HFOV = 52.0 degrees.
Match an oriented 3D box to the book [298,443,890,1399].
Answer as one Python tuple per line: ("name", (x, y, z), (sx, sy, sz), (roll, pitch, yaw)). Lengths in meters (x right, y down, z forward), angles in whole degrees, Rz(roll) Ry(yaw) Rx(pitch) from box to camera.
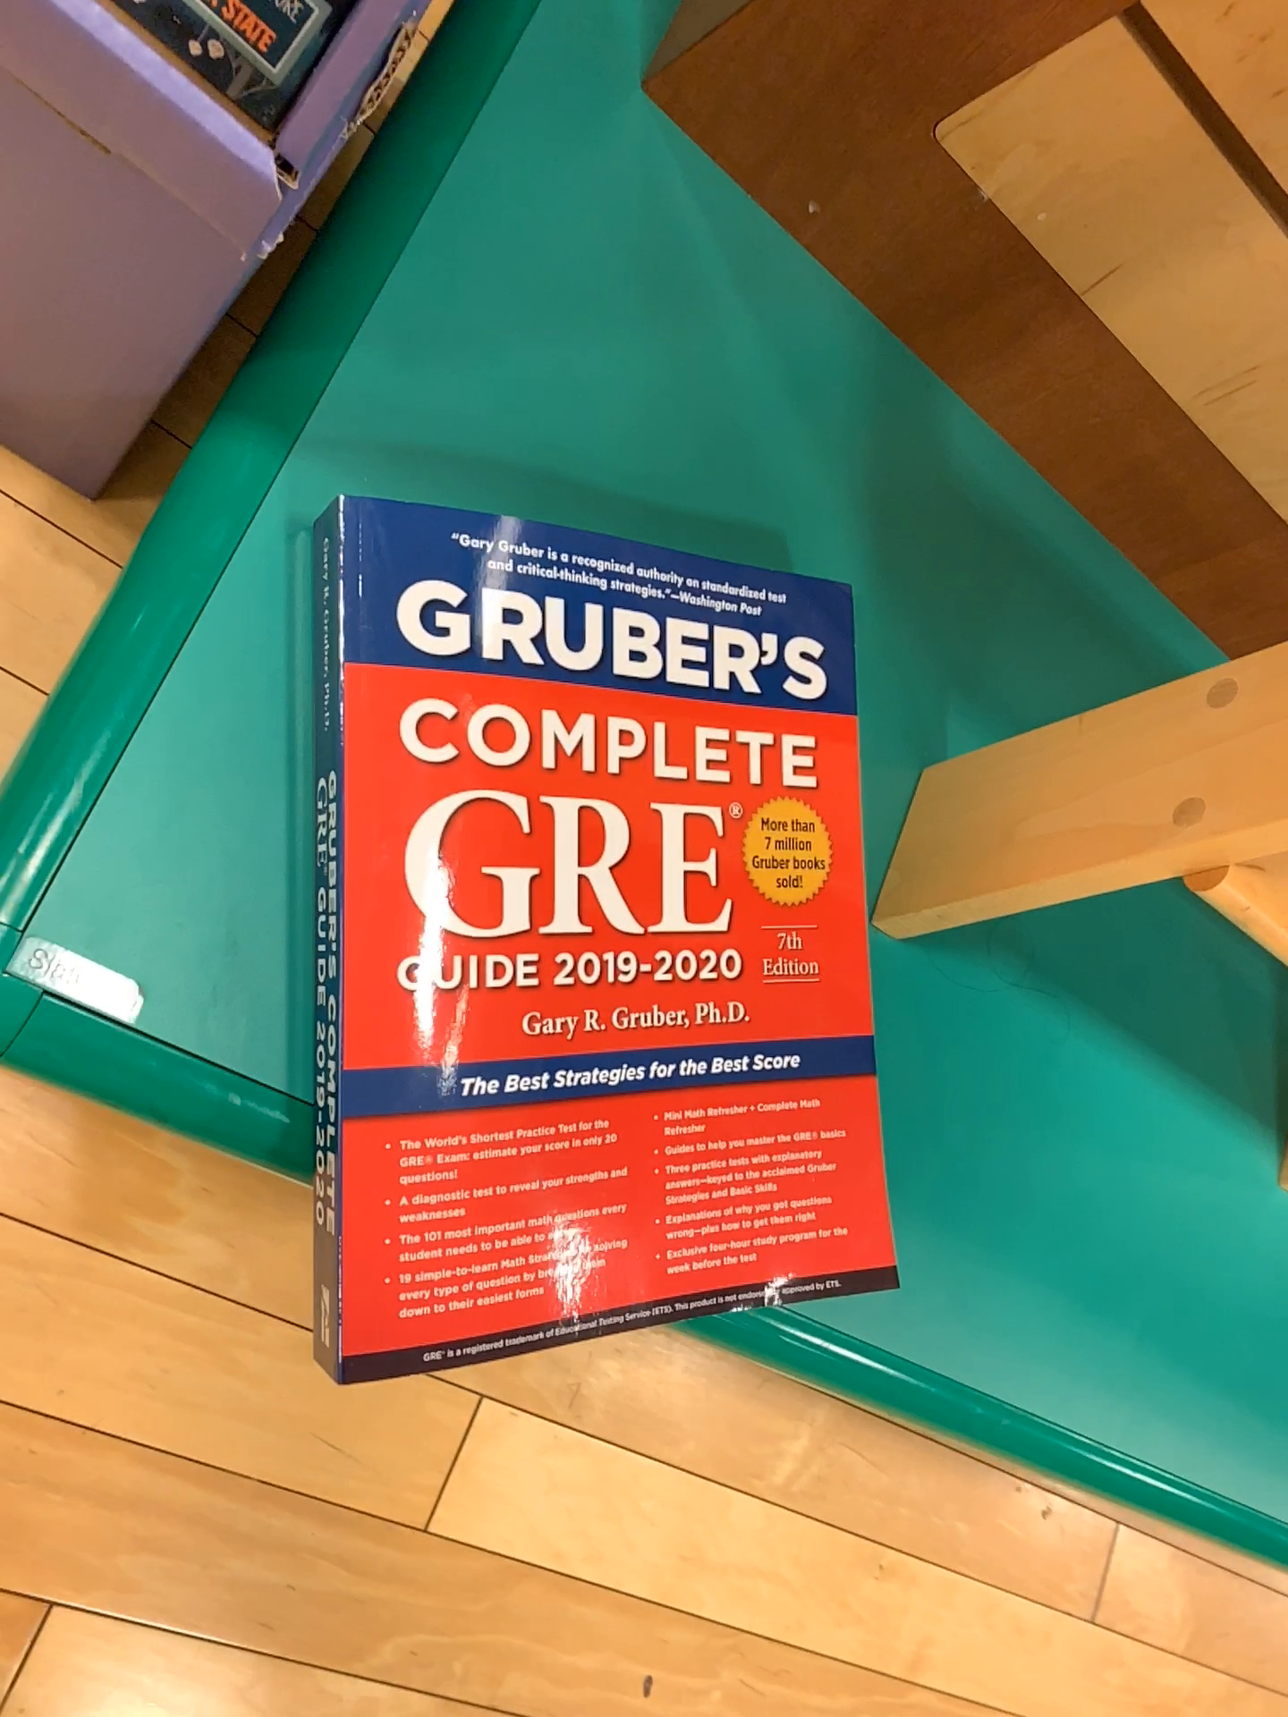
("book", (-0.009, 0.020, 0.477), (0.221, 0.040, 0.290), (2, 86, -33))
